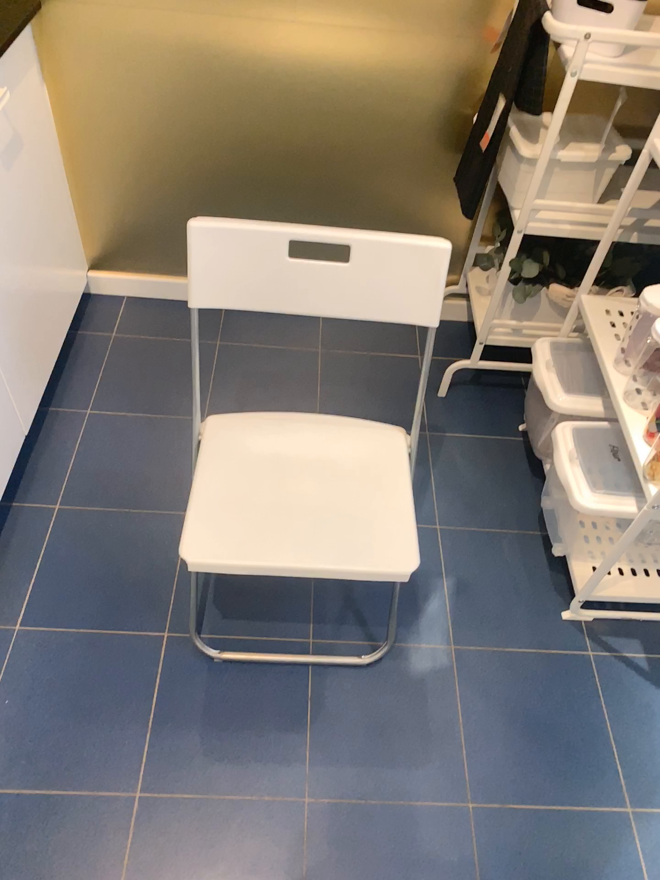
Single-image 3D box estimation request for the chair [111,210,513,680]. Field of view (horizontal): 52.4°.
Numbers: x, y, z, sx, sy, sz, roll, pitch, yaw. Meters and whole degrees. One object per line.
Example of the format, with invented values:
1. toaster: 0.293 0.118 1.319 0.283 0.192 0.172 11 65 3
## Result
1. chair: -0.044 0.056 1.181 0.460 0.708 0.451 4 49 -3
